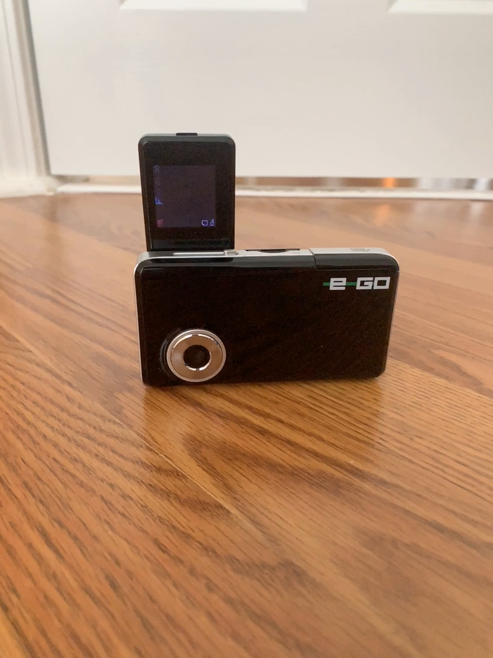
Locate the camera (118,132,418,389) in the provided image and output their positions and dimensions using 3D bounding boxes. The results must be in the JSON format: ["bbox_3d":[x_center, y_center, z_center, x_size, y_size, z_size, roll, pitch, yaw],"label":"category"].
[{"bbox_3d":[0.008,-0.029,0.233,0.118,0.111,0.022,-2,23,-5],"label":"camera"}]
